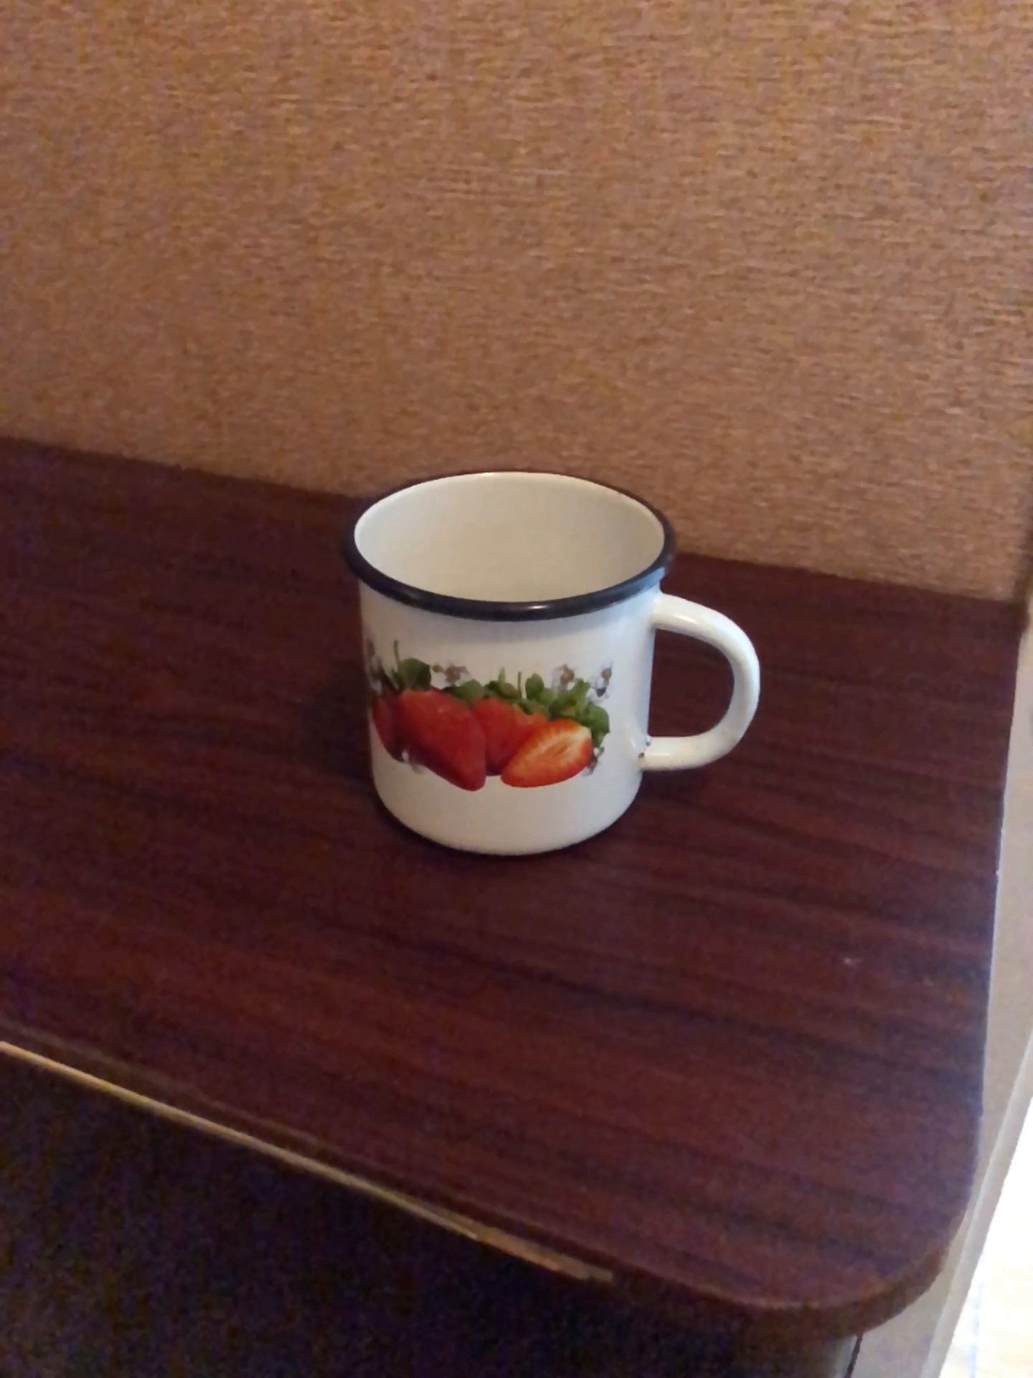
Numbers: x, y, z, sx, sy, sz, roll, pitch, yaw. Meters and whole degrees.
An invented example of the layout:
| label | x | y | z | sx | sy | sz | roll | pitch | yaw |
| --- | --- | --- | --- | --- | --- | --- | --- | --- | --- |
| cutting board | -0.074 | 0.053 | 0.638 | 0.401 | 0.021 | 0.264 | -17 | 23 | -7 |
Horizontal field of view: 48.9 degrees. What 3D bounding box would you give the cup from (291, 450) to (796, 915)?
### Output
| label | x | y | z | sx | sy | sz | roll | pitch | yaw |
| --- | --- | --- | --- | --- | --- | --- | --- | --- | --- |
| cup | 0.016 | -0.011 | 0.440 | 0.155 | 0.113 | 0.119 | 10 | 31 | 16 |
